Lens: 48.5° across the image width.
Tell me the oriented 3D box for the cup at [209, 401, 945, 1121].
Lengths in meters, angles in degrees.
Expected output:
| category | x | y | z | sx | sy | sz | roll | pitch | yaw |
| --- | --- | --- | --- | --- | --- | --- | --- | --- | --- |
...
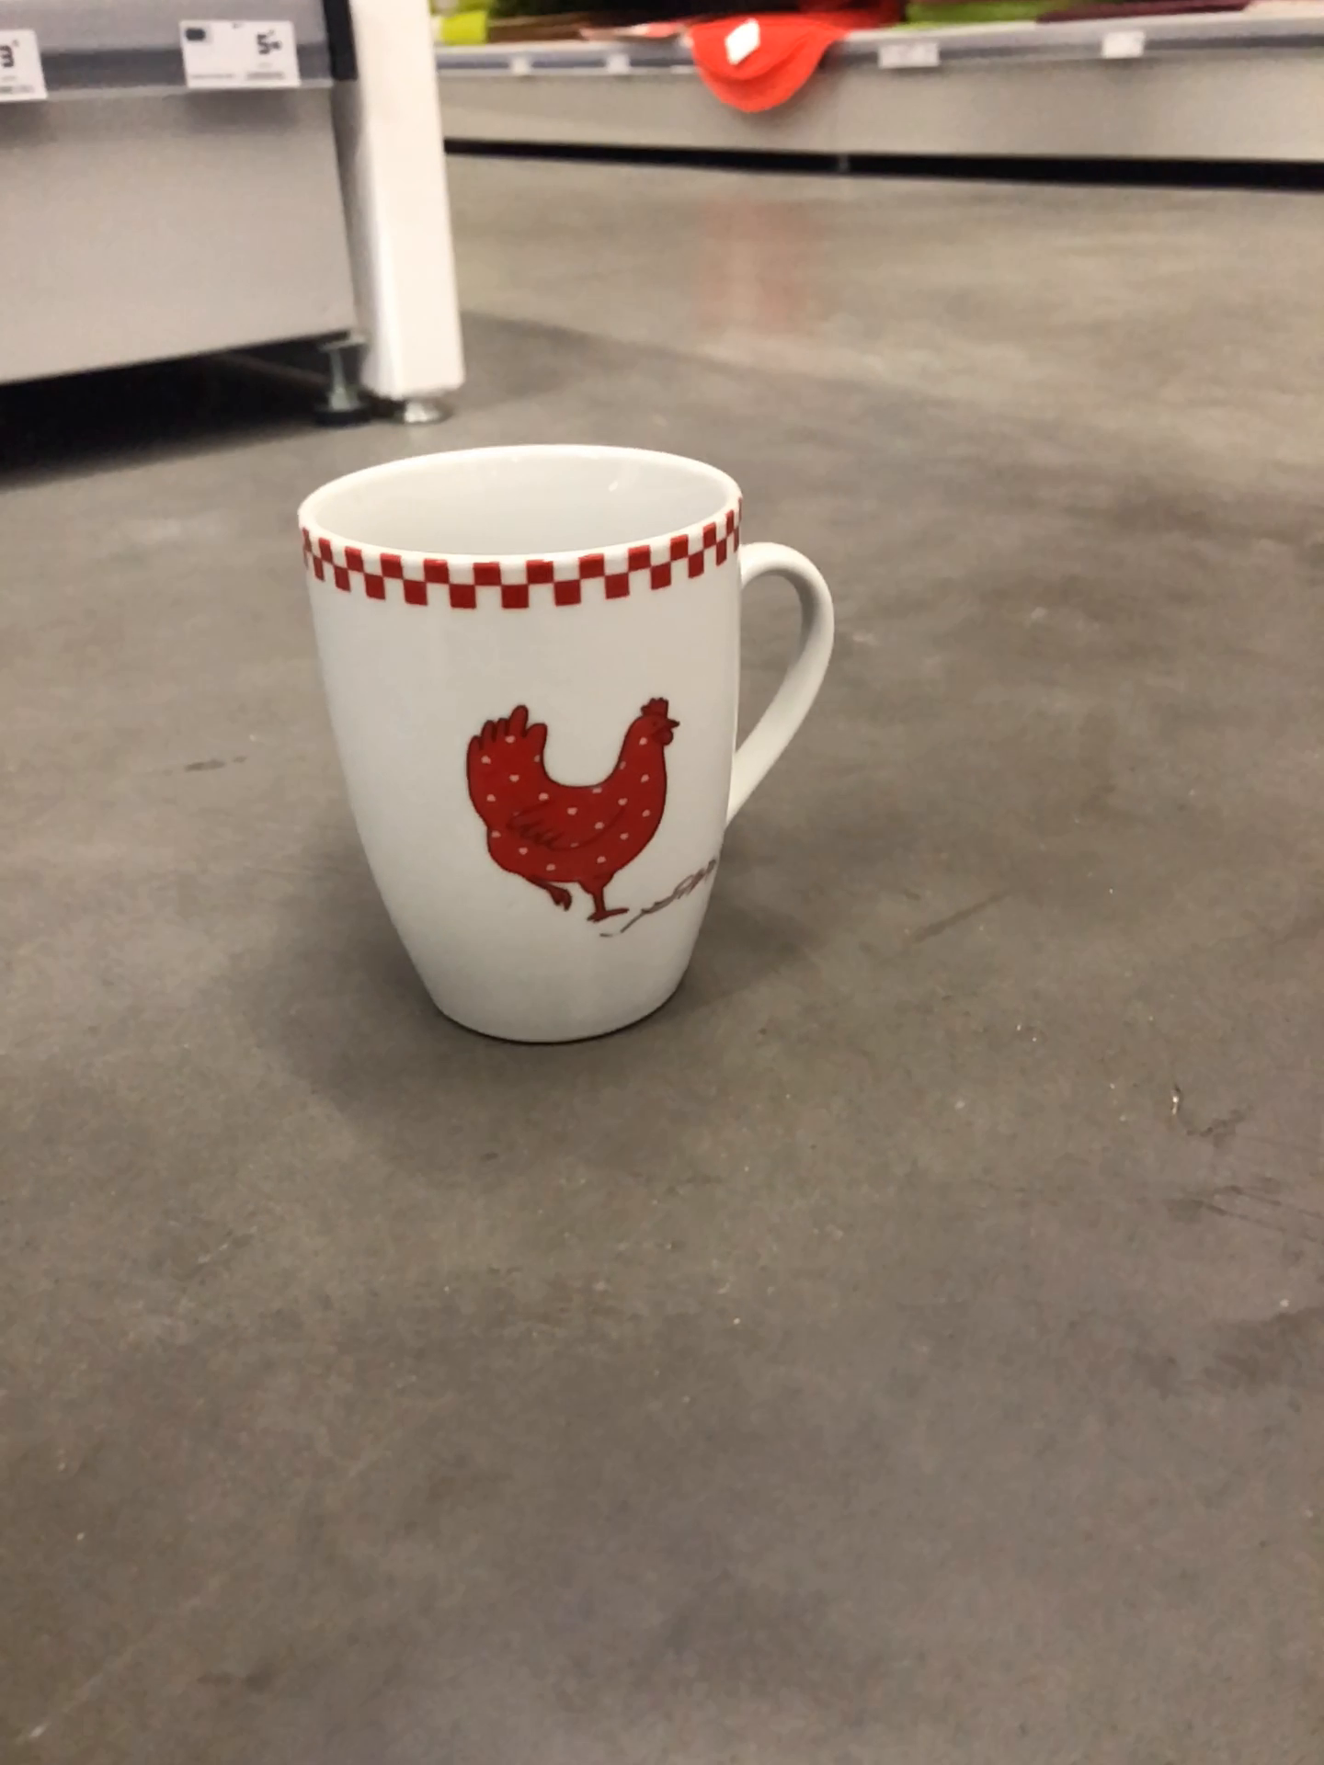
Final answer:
| category | x | y | z | sx | sy | sz | roll | pitch | yaw |
| --- | --- | --- | --- | --- | --- | --- | --- | --- | --- |
| cup | -0.017 | -0.031 | 0.281 | 0.103 | 0.092 | 0.088 | -16 | 32 | -23 |
